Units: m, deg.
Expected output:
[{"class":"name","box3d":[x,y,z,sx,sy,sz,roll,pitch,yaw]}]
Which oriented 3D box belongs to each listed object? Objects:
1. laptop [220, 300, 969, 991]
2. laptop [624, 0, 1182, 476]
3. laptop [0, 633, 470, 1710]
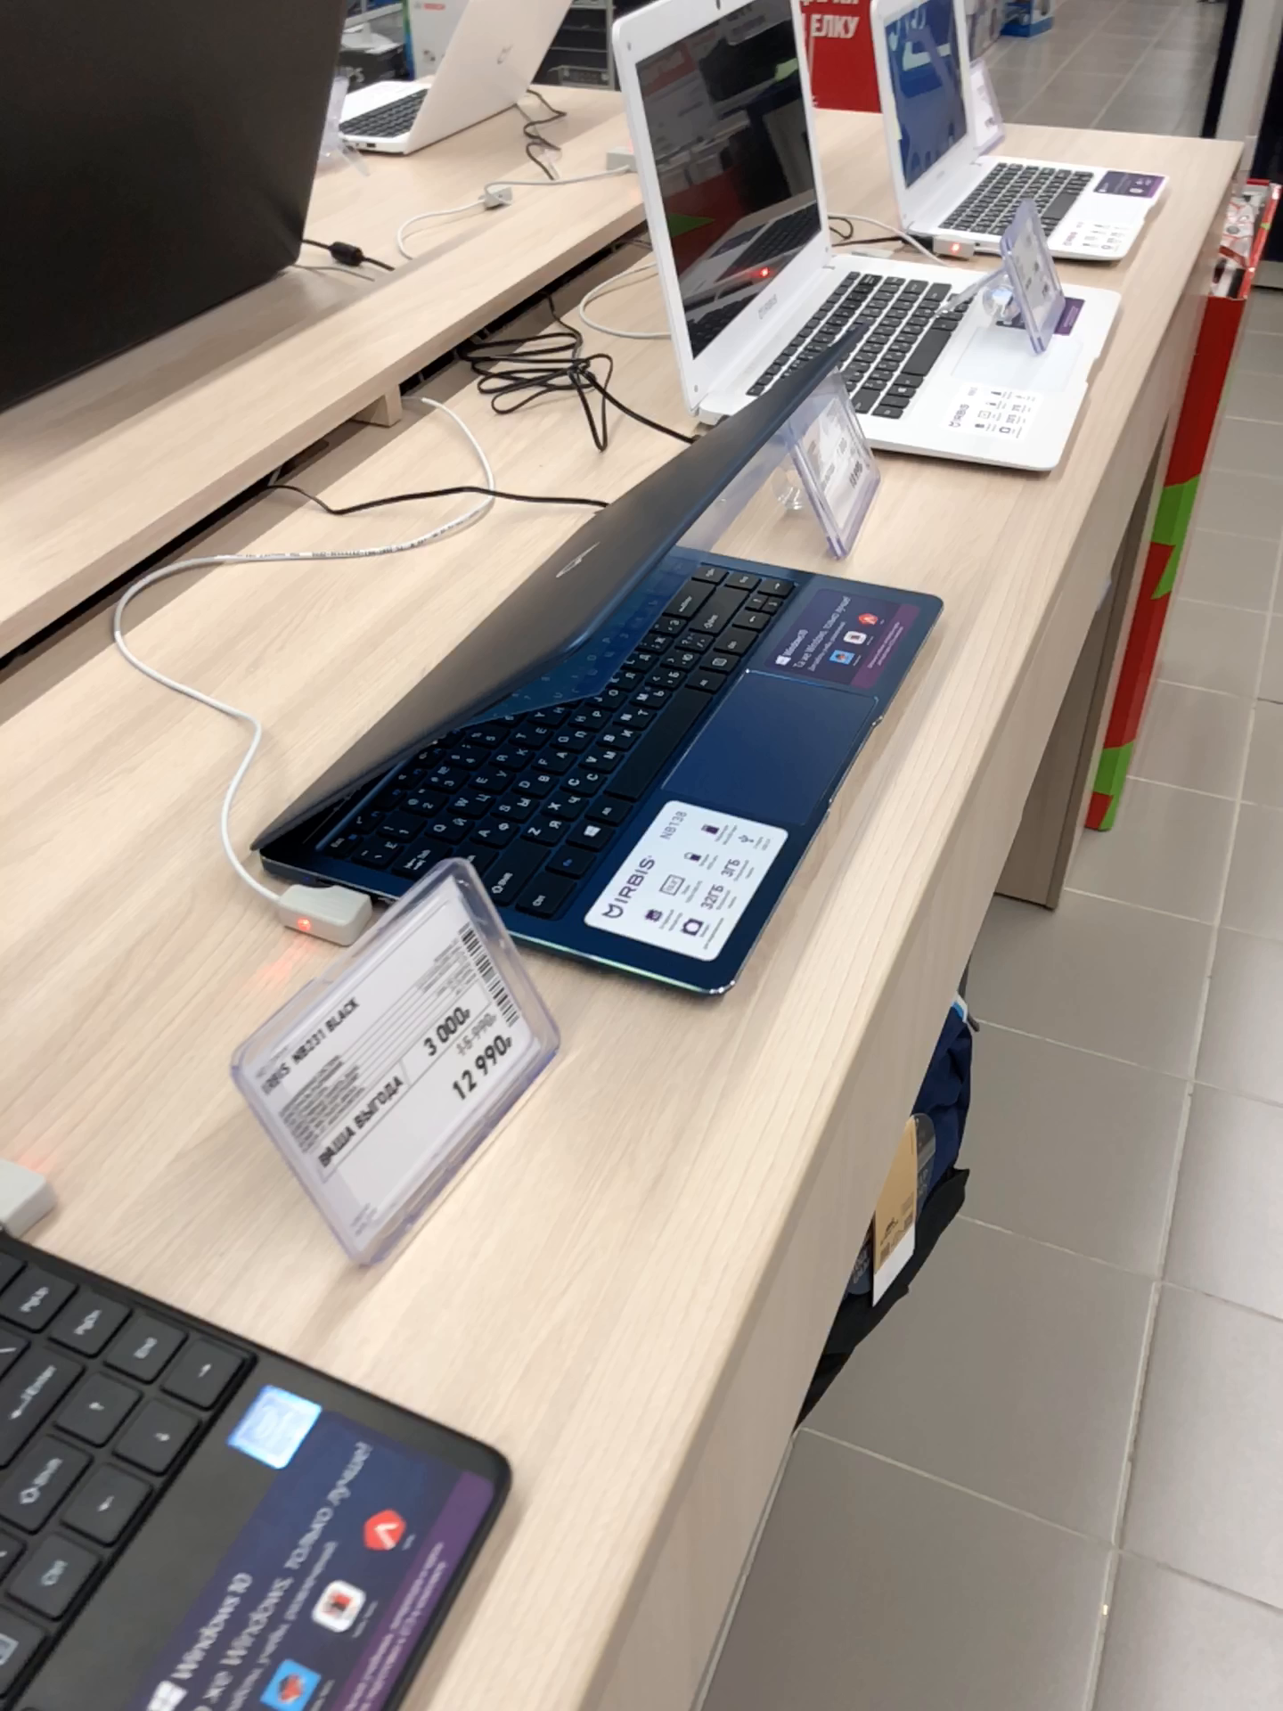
[{"class":"laptop","box3d":[0.003,-0.116,0.613,0.189,0.124,0.310,17,42,18]},{"class":"laptop","box3d":[0.180,-0.463,0.958,0.303,0.212,0.341,16,43,19]},{"class":"laptop","box3d":[-0.244,0.136,0.254,0.323,0.165,0.295,16,41,19]}]
